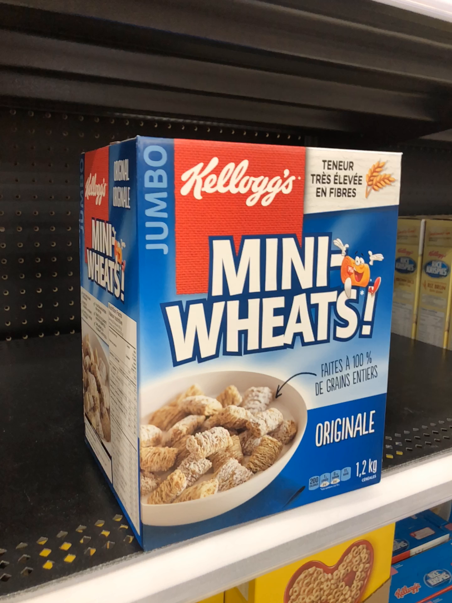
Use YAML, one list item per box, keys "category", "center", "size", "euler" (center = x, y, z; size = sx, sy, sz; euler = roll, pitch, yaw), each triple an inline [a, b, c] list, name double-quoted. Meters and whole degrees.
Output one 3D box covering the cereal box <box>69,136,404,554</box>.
- category: "cereal box"
  center: [-0.004, 0.010, 0.407]
  size: [0.200, 0.249, 0.171]
  euler: [-5, 13, -27]
